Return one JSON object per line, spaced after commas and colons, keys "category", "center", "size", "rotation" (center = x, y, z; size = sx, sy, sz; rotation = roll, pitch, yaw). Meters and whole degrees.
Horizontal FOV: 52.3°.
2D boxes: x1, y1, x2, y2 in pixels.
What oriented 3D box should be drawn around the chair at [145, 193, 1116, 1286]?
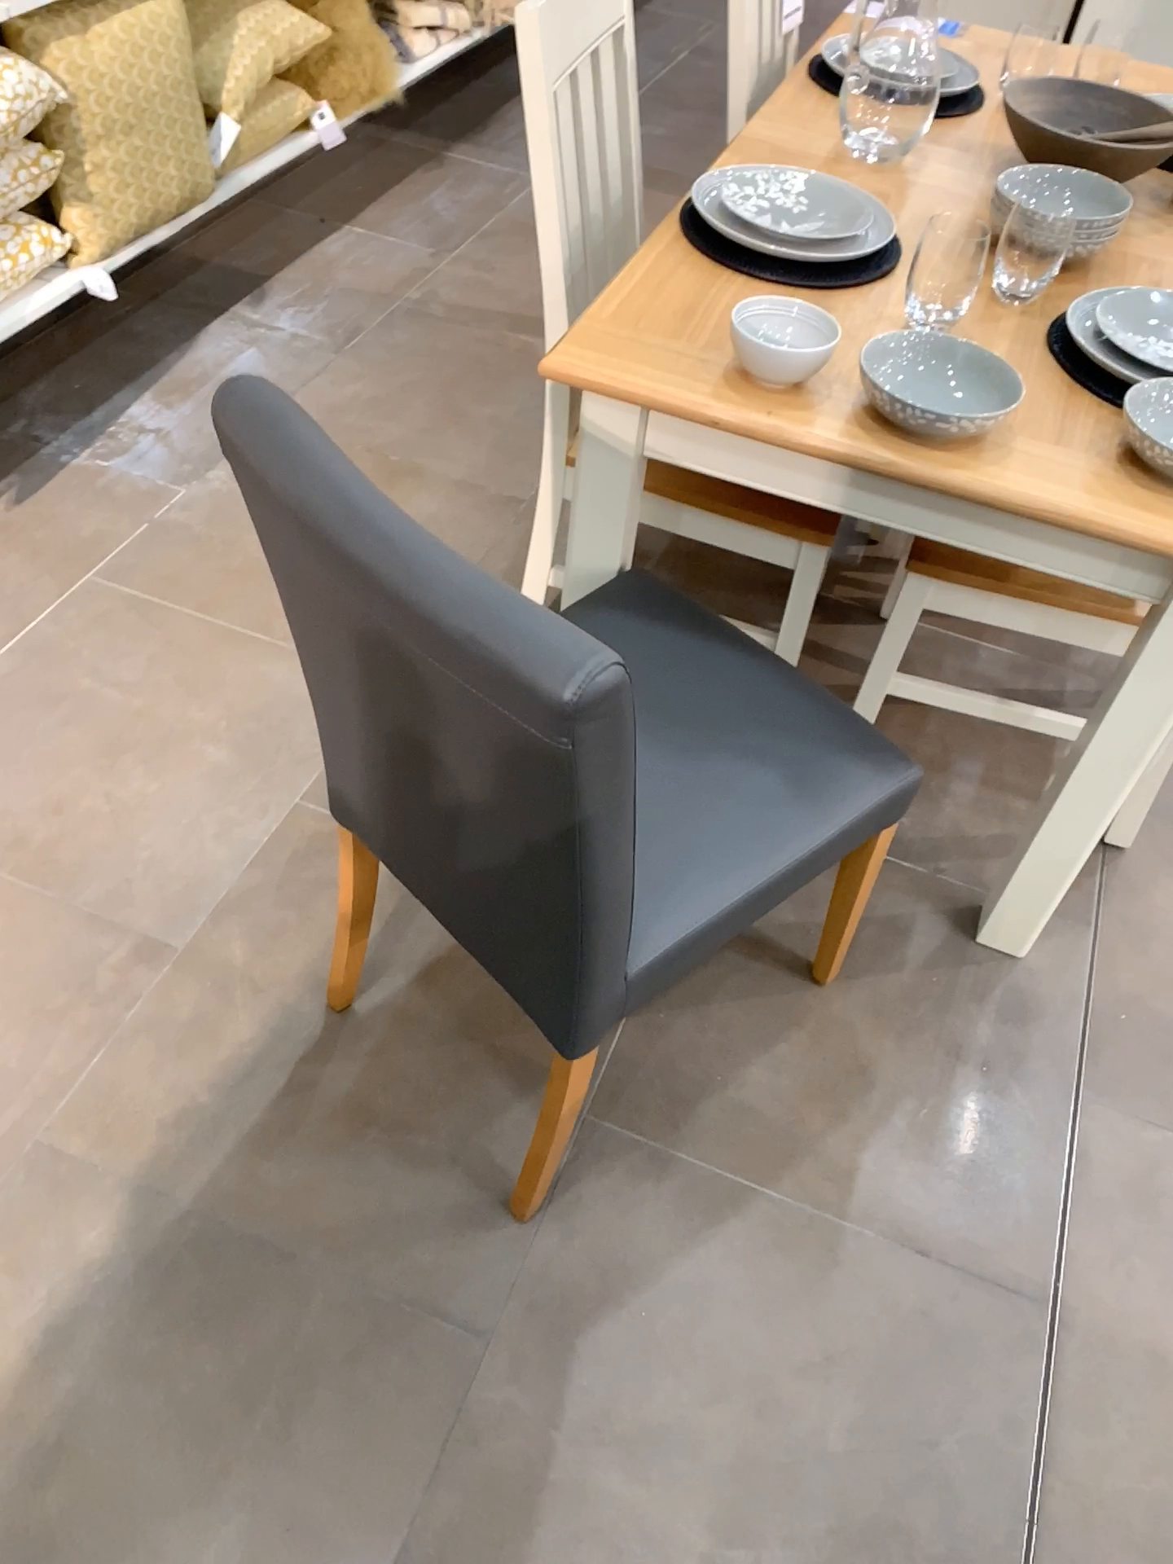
{"category": "chair", "center": [0.017, -0.021, 1.303], "size": [0.652, 0.907, 0.477], "rotation": [-32, 59, -31]}
